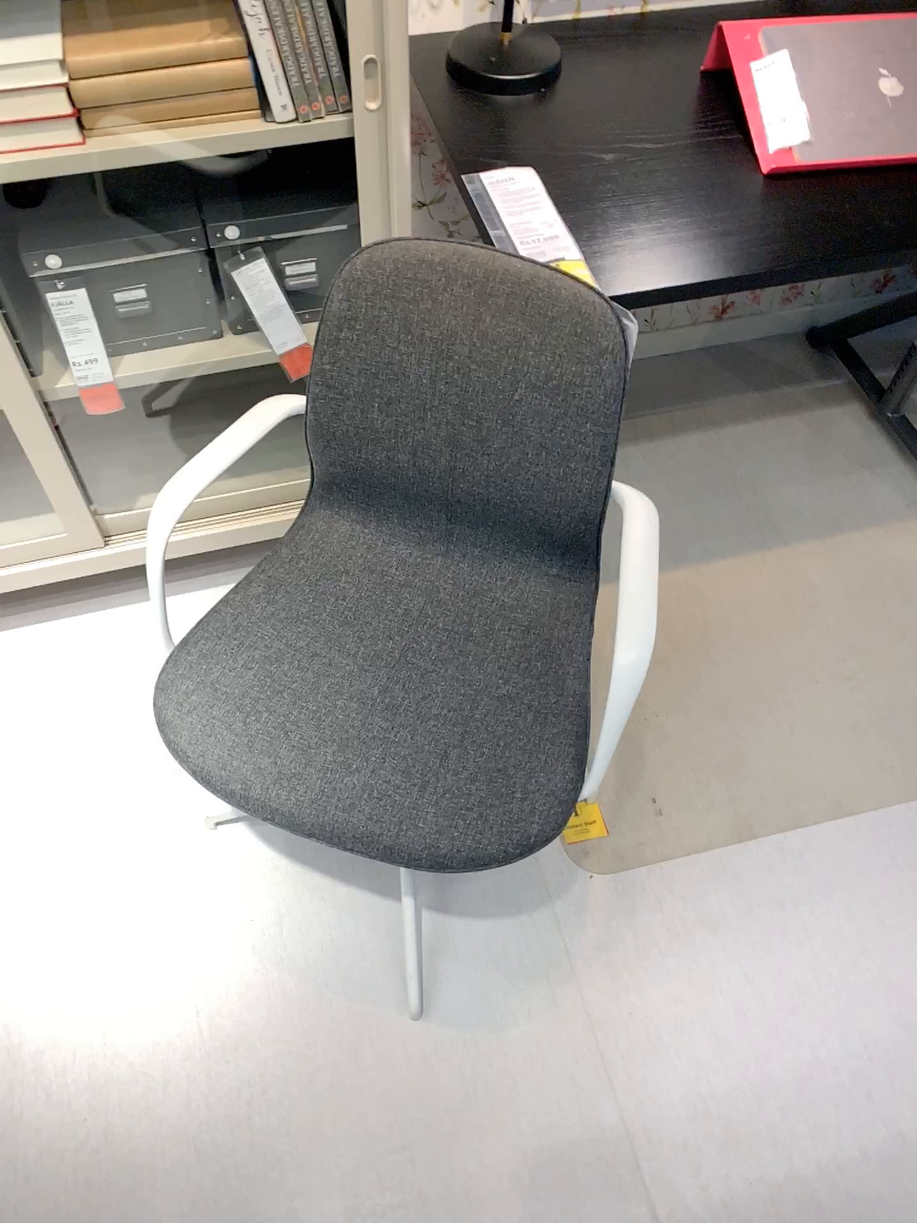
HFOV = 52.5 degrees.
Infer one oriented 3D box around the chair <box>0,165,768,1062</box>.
[{"bbox_3d":[-0.088,0.064,1.184,0.620,0.838,0.641,16,57,9],"label":"chair"}]
